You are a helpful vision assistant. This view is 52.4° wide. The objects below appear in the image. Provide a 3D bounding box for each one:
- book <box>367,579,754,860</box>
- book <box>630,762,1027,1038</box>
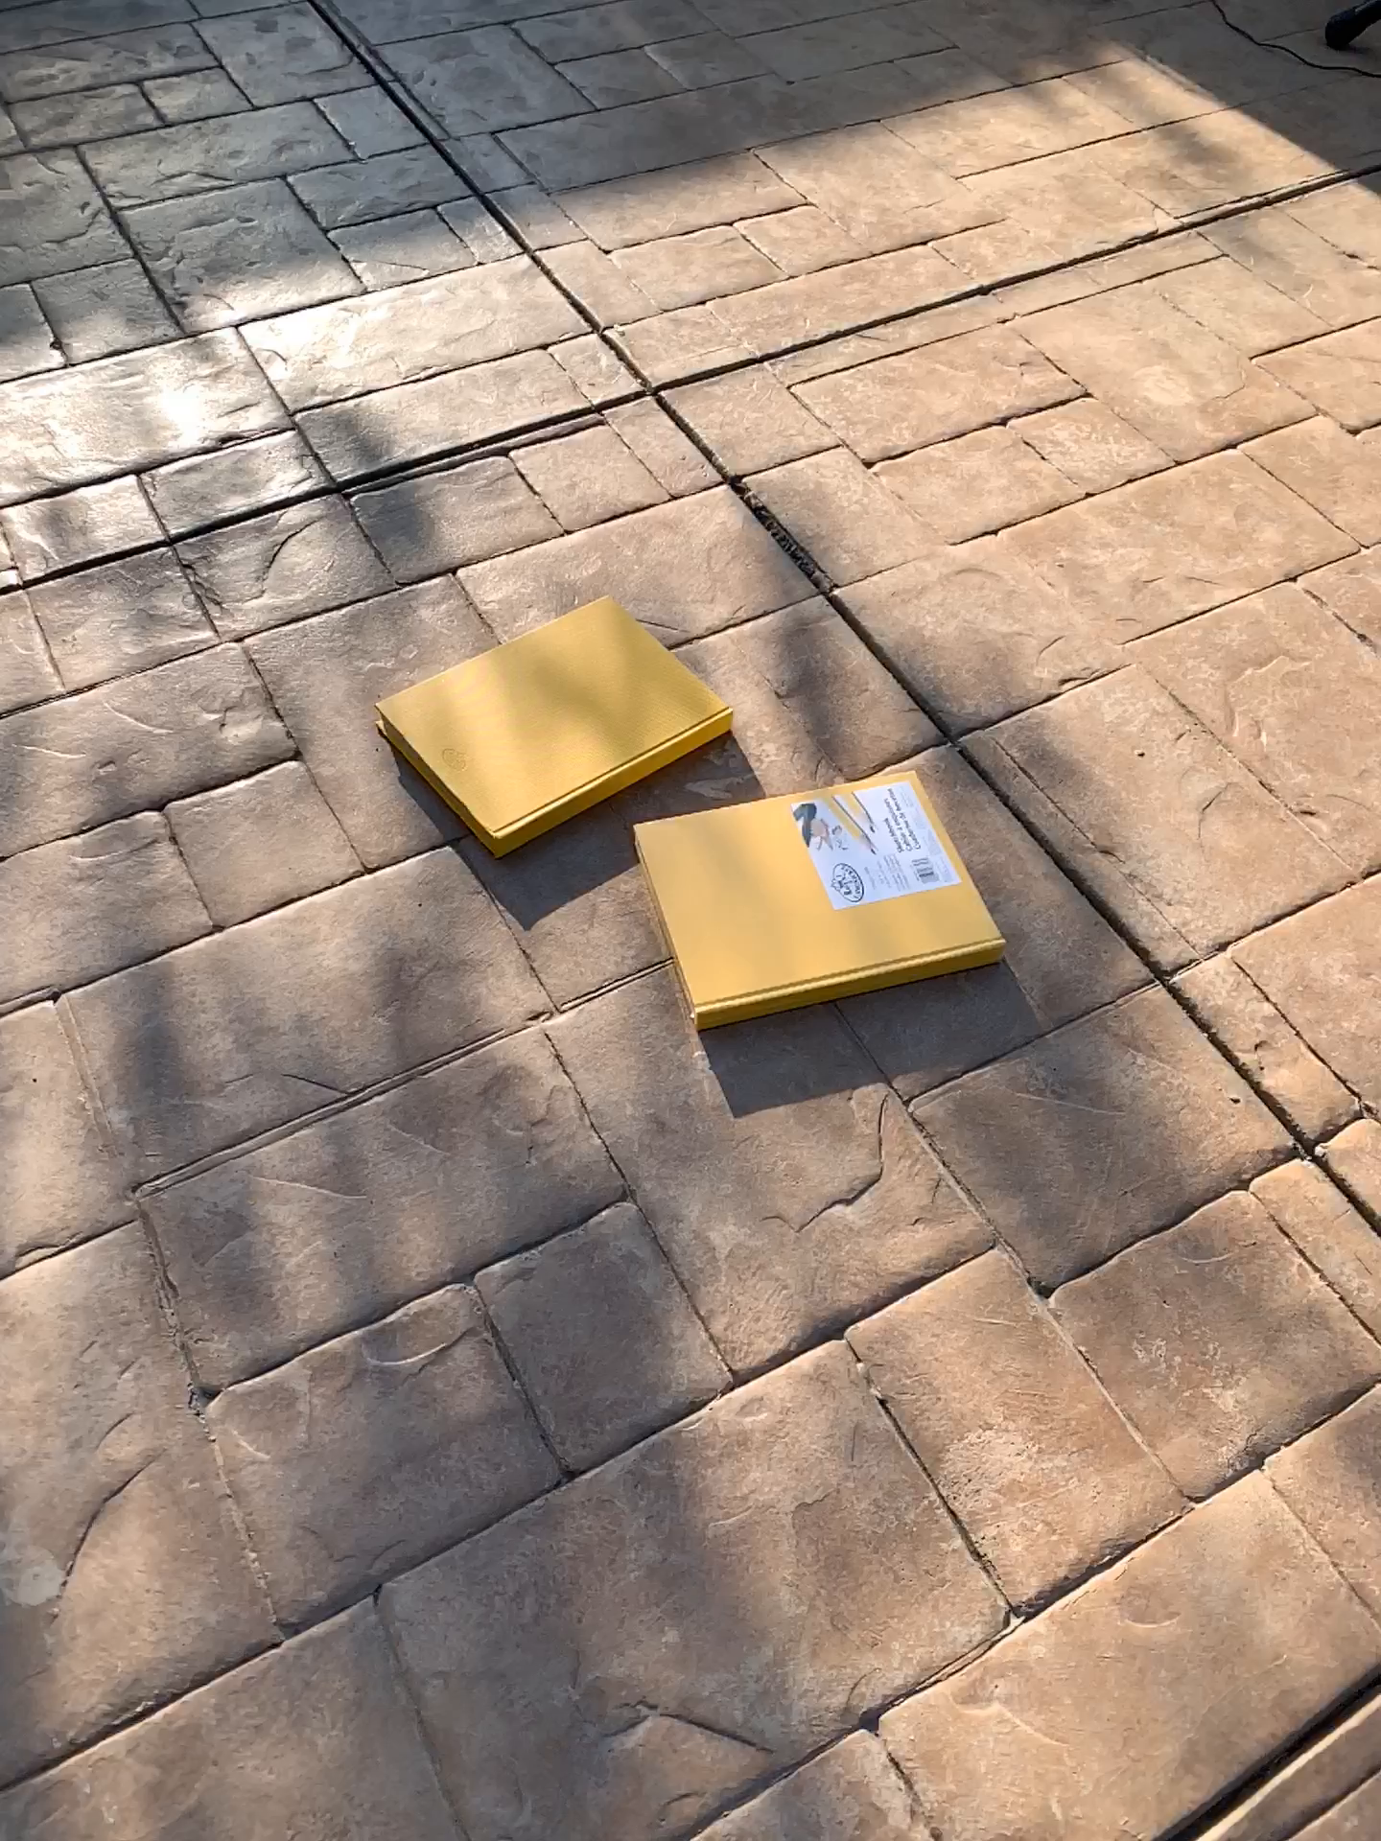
[{"bbox_3d":[-0.129,-0.214,1.419,0.310,0.030,0.231,-32,60,-24],"label":"book"},{"bbox_3d":[0.119,-0.027,1.279,0.300,0.030,0.231,-11,54,-11],"label":"book"}]
